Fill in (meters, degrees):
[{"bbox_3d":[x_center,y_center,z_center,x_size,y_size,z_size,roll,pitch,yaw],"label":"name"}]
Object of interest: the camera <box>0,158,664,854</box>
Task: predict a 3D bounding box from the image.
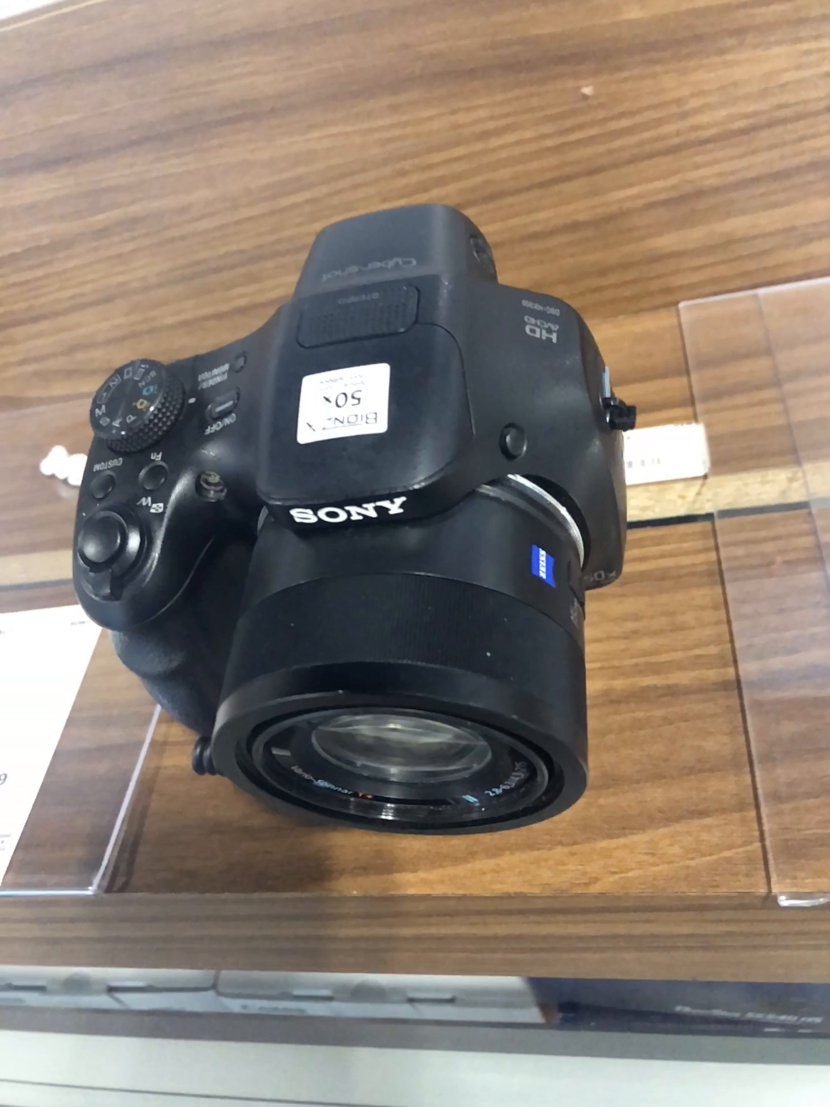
[{"bbox_3d":[-0.017,-0.007,0.200,0.125,0.084,0.110,-6,46,16],"label":"camera"}]
